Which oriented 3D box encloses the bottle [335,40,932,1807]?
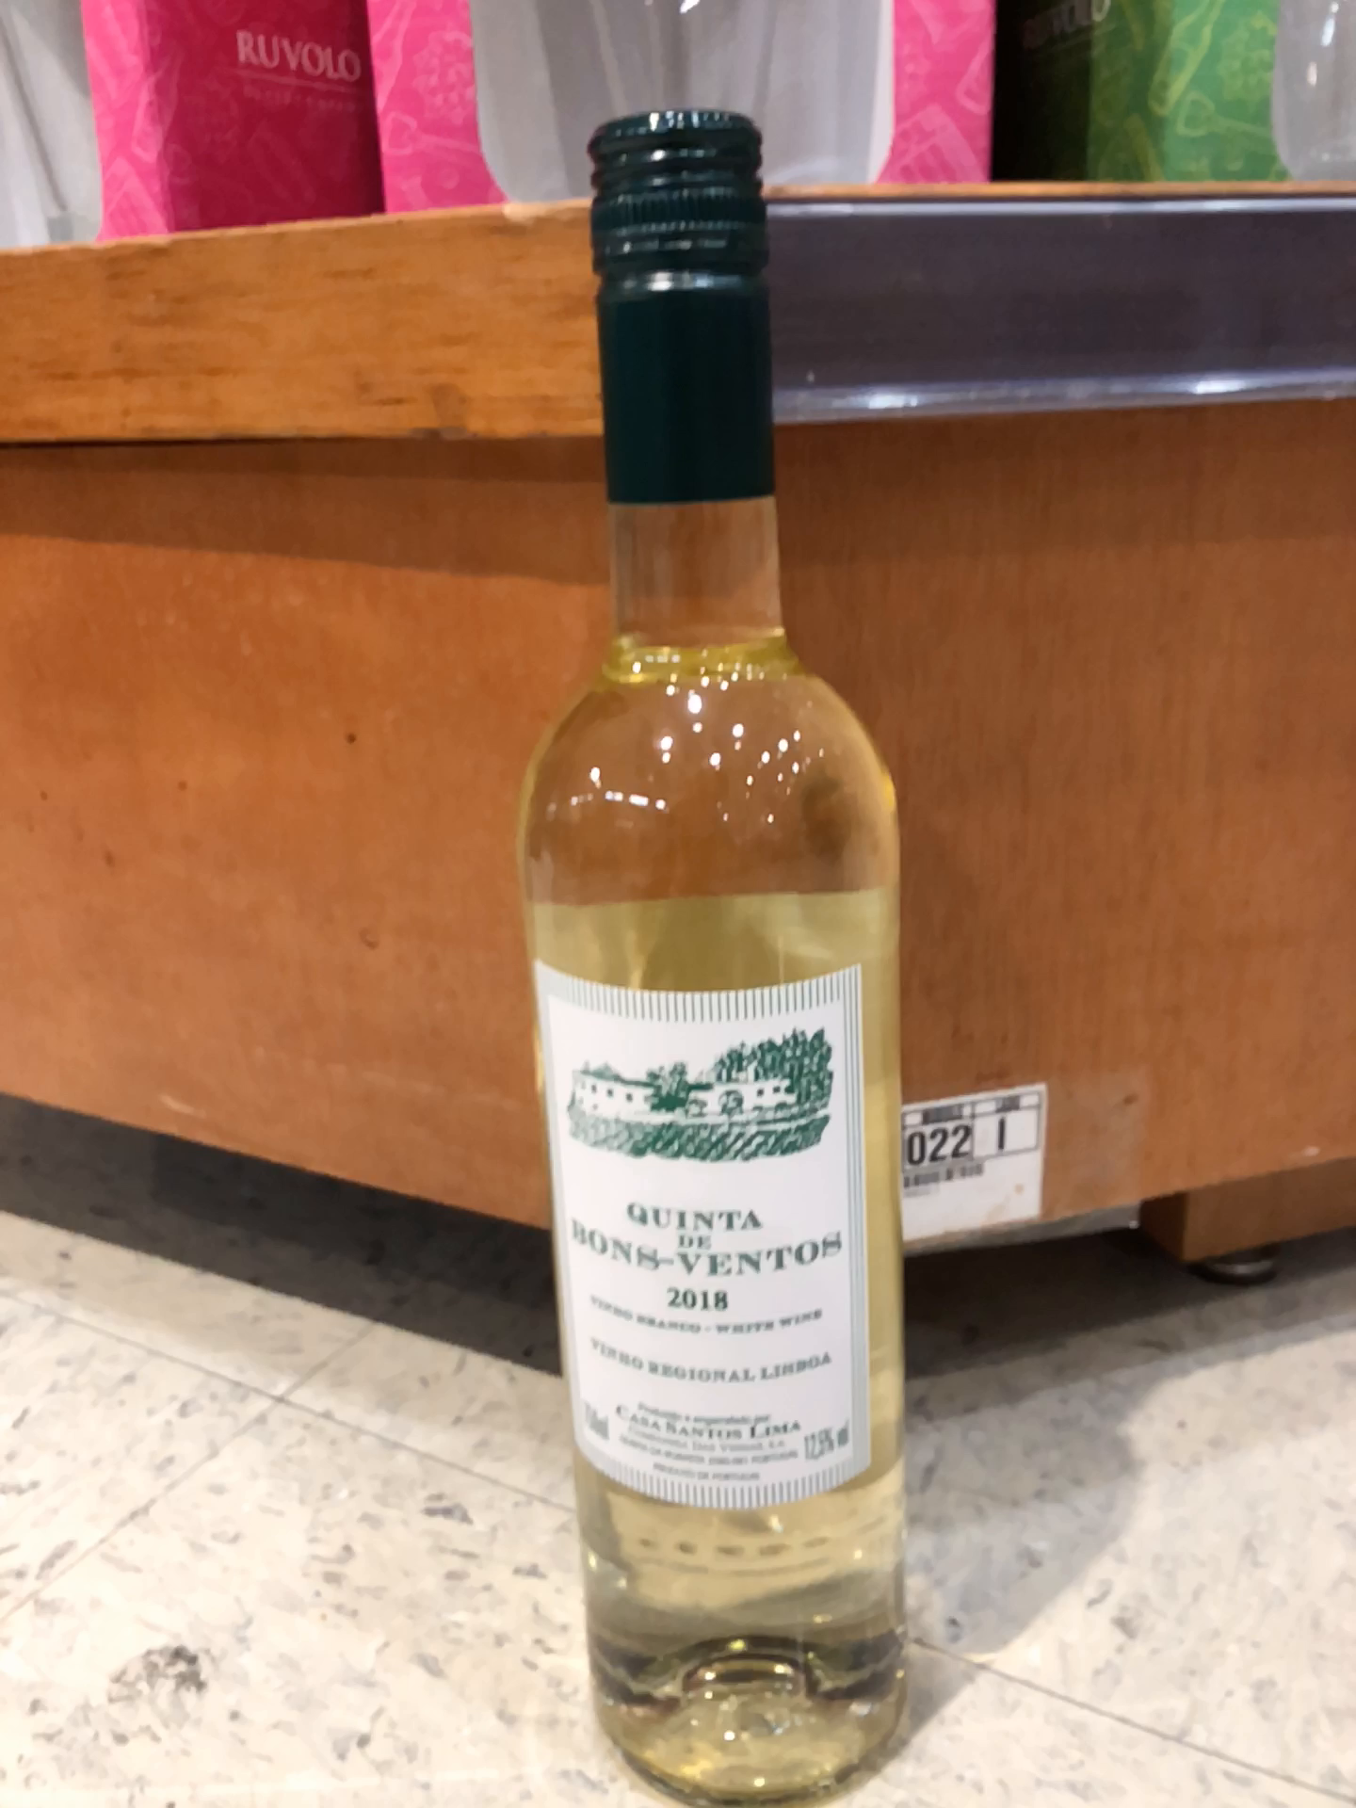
[{"bbox_3d":[0.006,0.022,0.287,0.080,0.308,0.080,-3,18,1],"label":"bottle"}]
